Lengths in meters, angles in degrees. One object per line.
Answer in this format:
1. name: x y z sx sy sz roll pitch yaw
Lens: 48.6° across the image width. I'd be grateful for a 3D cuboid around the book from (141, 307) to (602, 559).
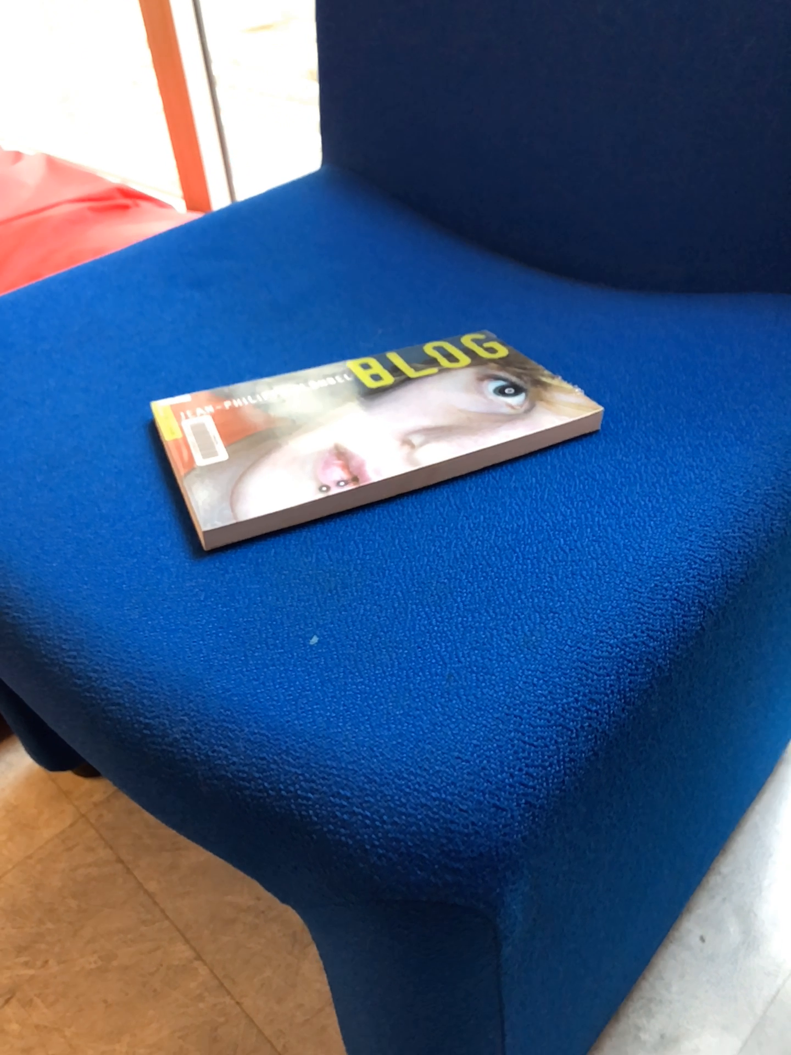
1. book: -0.019 -0.064 0.489 0.220 0.018 0.143 -17 40 -14
